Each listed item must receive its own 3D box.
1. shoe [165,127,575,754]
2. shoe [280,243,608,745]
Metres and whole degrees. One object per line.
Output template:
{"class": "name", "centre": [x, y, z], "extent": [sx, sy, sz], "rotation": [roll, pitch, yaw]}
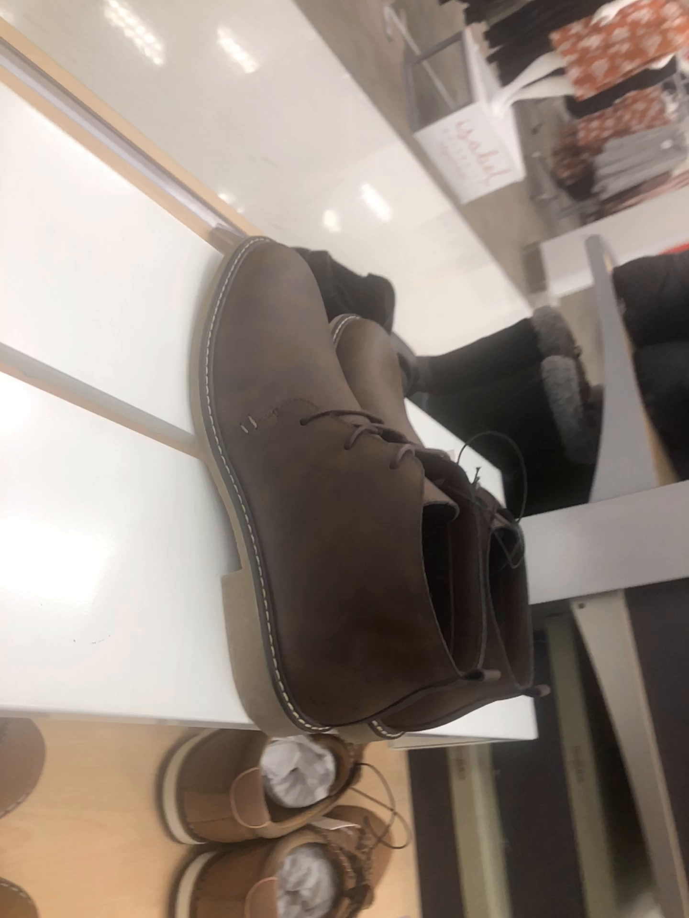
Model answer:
{"class": "shoe", "centre": [0.009, -0.001, 0.470], "extent": [0.128, 0.172, 0.314], "rotation": [21, 57, -59]}
{"class": "shoe", "centre": [0.065, 0.033, 0.563], "extent": [0.133, 0.172, 0.314], "rotation": [37, 45, -52]}
